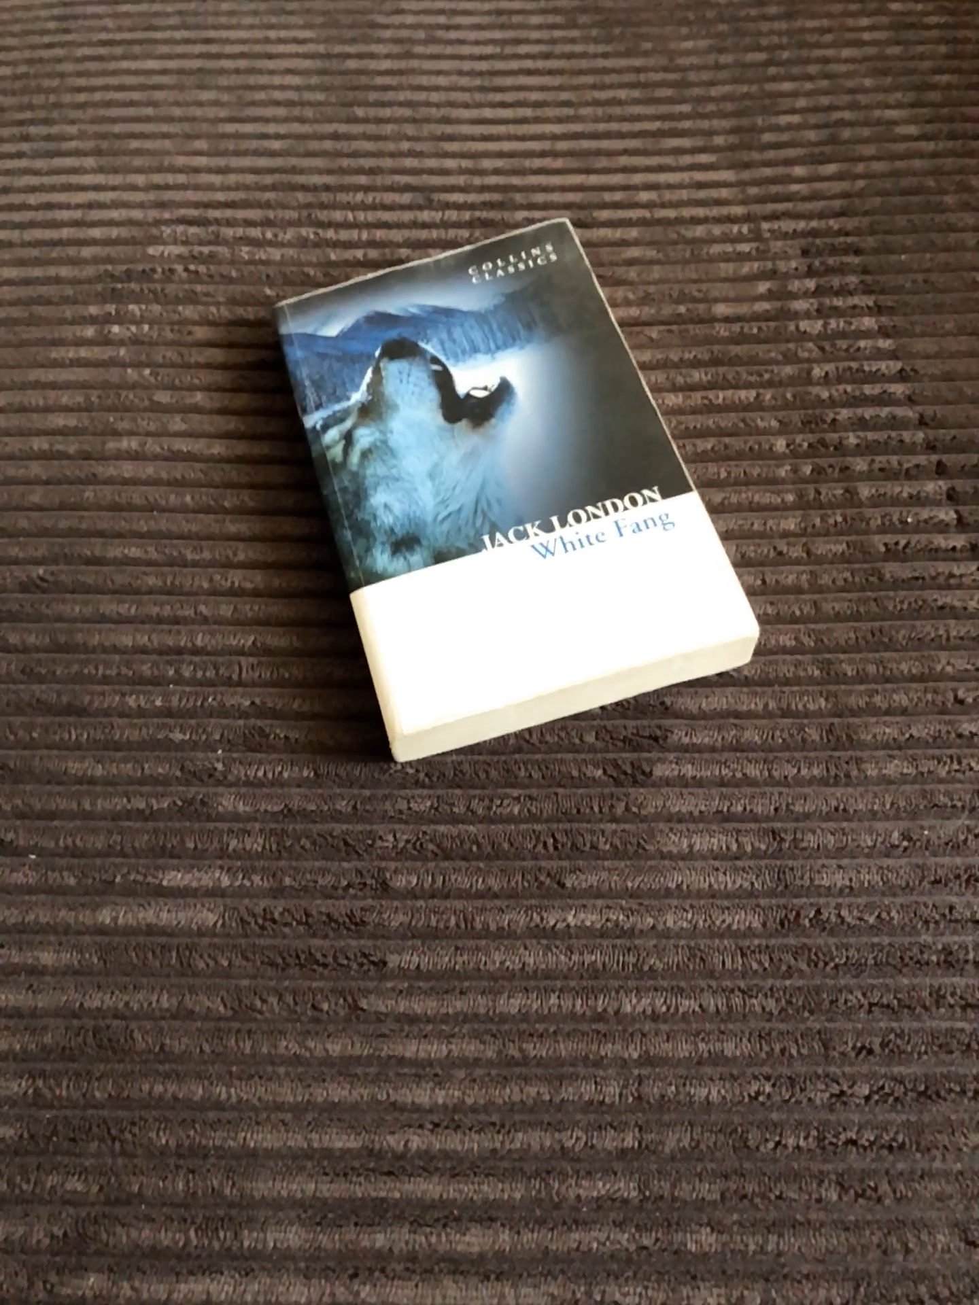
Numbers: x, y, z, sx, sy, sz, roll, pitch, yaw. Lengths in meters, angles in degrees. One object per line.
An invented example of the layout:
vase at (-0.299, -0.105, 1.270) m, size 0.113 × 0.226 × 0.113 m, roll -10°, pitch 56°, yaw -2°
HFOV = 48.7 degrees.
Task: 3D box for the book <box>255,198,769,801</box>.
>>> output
book at (0.000, -0.056, 0.345) m, size 0.114 × 0.030 × 0.179 m, roll -17°, pitch 64°, yaw 0°
